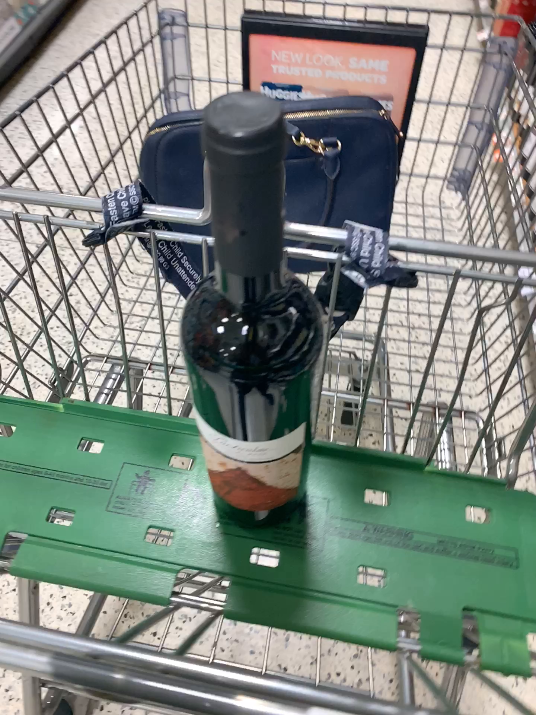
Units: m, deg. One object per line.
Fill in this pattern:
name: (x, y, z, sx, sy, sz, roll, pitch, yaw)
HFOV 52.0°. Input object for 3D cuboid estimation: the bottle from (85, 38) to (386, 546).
bottle: (-0.006, 0.006, 0.301, 0.080, 0.297, 0.081, 0, 53, 0)
